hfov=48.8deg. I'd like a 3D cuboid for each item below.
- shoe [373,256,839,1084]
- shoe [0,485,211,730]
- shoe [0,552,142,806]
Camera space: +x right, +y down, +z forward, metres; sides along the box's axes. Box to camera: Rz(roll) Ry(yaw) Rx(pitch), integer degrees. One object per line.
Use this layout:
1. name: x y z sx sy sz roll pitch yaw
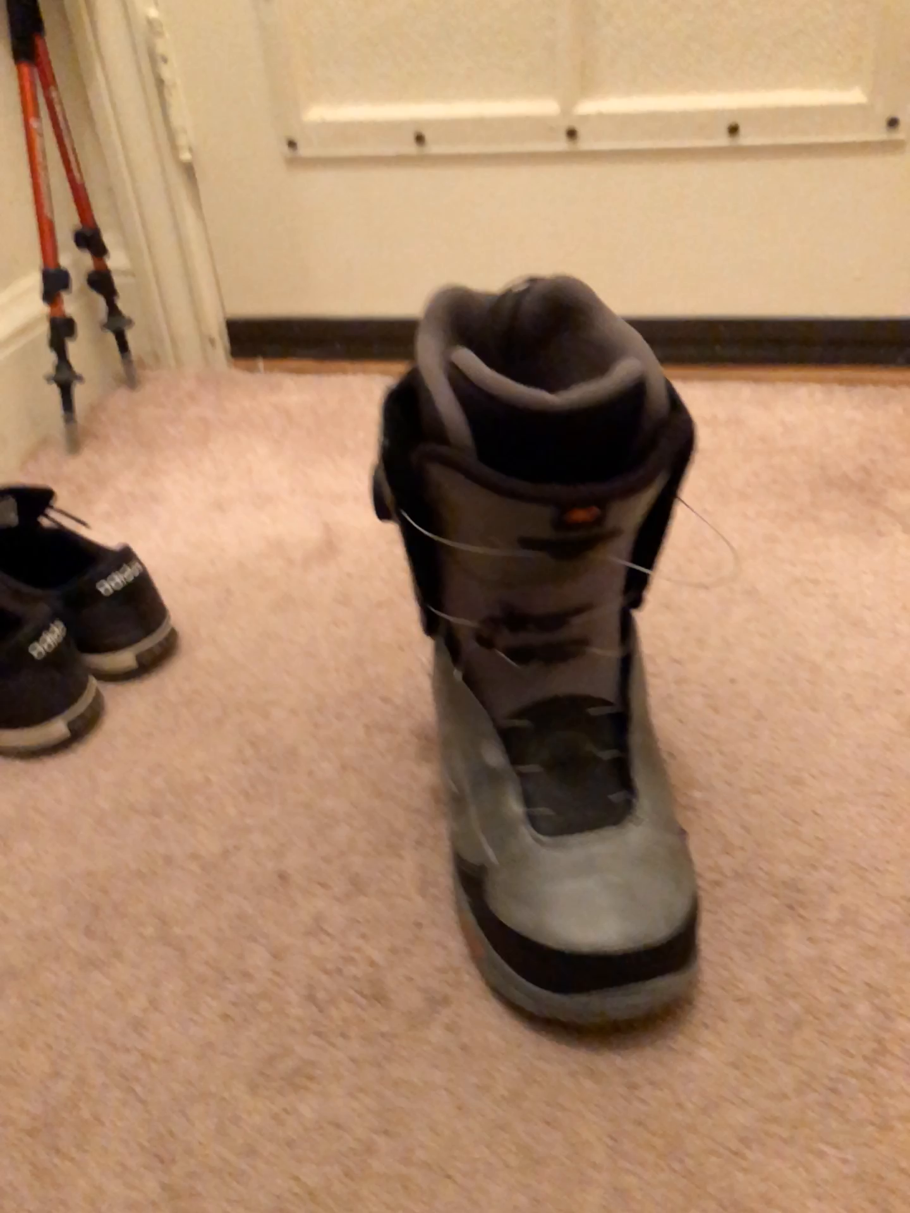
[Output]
1. shoe: 0.047 0.019 0.492 0.137 0.281 0.275 -6 36 -1
2. shoe: -0.364 -0.006 0.791 0.303 0.116 0.108 7 34 17
3. shoe: -0.372 0.044 0.676 0.283 0.107 0.088 6 38 15
